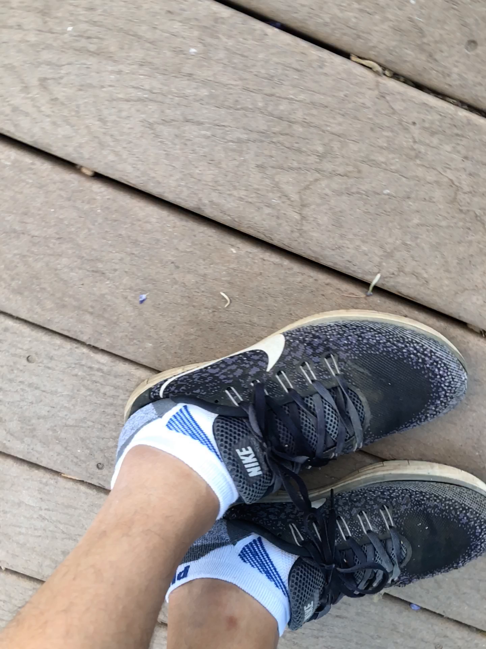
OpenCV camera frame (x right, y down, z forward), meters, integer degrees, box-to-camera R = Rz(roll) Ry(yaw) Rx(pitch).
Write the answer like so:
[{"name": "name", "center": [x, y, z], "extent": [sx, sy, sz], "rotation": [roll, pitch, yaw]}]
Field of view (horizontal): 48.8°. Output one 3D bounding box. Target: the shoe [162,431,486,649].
[{"name": "shoe", "center": [0.085, 0.193, 0.464], "extent": [0.270, 0.100, 0.120], "rotation": [-11, 110, 7]}]

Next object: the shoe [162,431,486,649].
[{"name": "shoe", "center": [0.085, 0.193, 0.464], "extent": [0.270, 0.100, 0.120], "rotation": [-11, 110, 7]}]

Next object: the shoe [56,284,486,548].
[{"name": "shoe", "center": [0.027, 0.073, 0.430], "extent": [0.300, 0.090, 0.120], "rotation": [-14, 110, 8]}]
